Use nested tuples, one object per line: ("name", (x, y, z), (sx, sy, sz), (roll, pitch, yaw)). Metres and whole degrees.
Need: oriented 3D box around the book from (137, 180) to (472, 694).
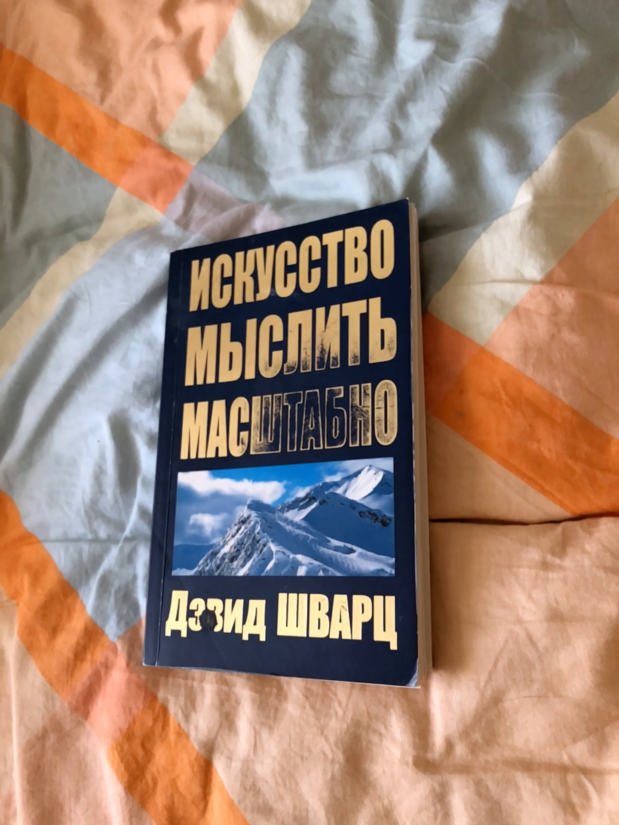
("book", (-0.003, 0.008, 0.284), (0.127, 0.028, 0.189), (-6, 73, 25))
